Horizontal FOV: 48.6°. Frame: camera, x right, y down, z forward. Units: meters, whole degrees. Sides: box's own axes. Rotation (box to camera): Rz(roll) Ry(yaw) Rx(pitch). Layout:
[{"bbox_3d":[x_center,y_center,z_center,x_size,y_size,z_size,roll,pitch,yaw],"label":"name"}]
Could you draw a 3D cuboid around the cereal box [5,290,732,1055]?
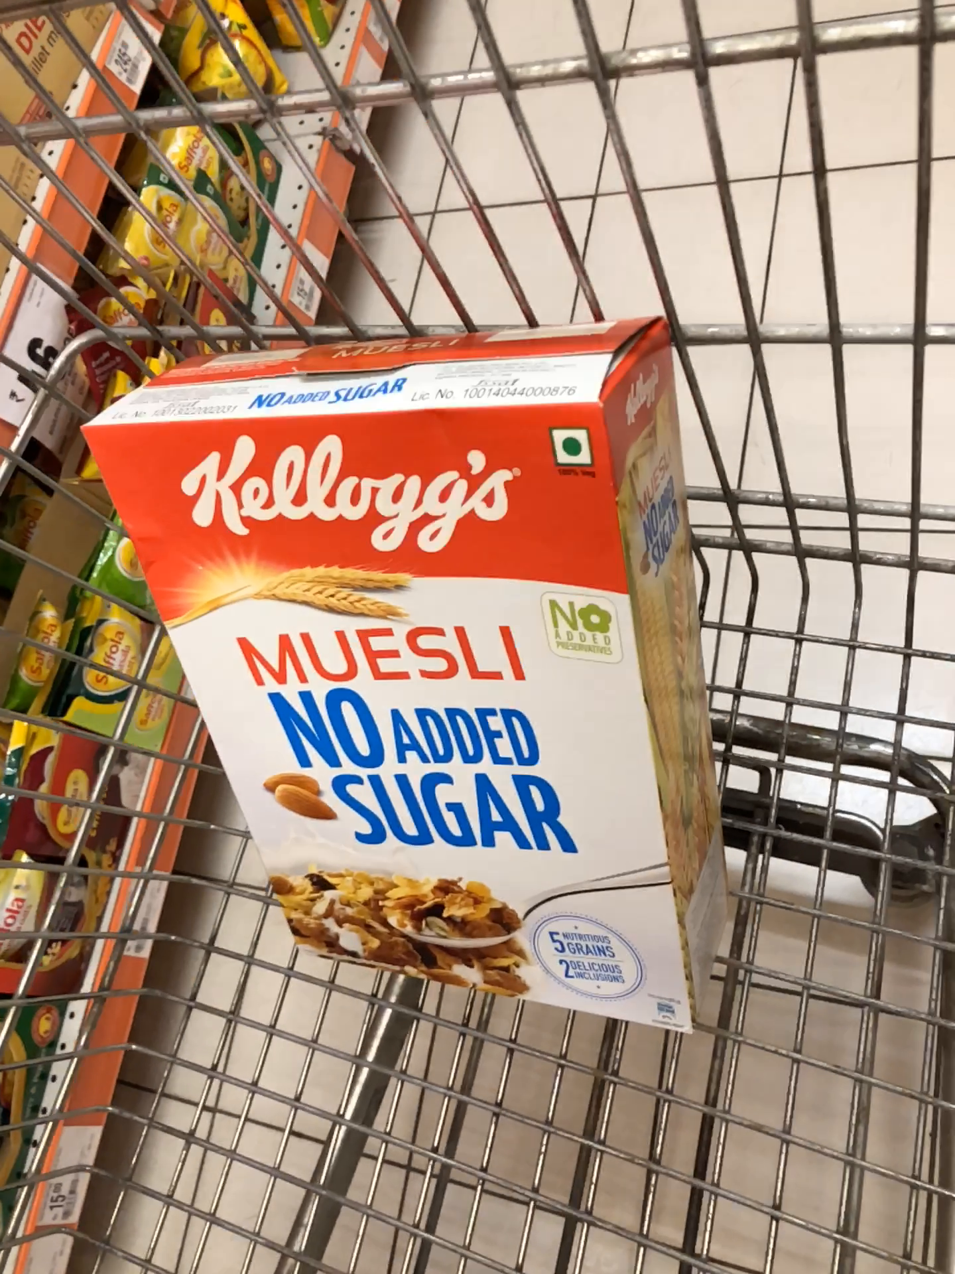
[{"bbox_3d":[-0.020,0.023,0.381,0.190,0.259,0.070,3,37,24],"label":"cereal box"}]
